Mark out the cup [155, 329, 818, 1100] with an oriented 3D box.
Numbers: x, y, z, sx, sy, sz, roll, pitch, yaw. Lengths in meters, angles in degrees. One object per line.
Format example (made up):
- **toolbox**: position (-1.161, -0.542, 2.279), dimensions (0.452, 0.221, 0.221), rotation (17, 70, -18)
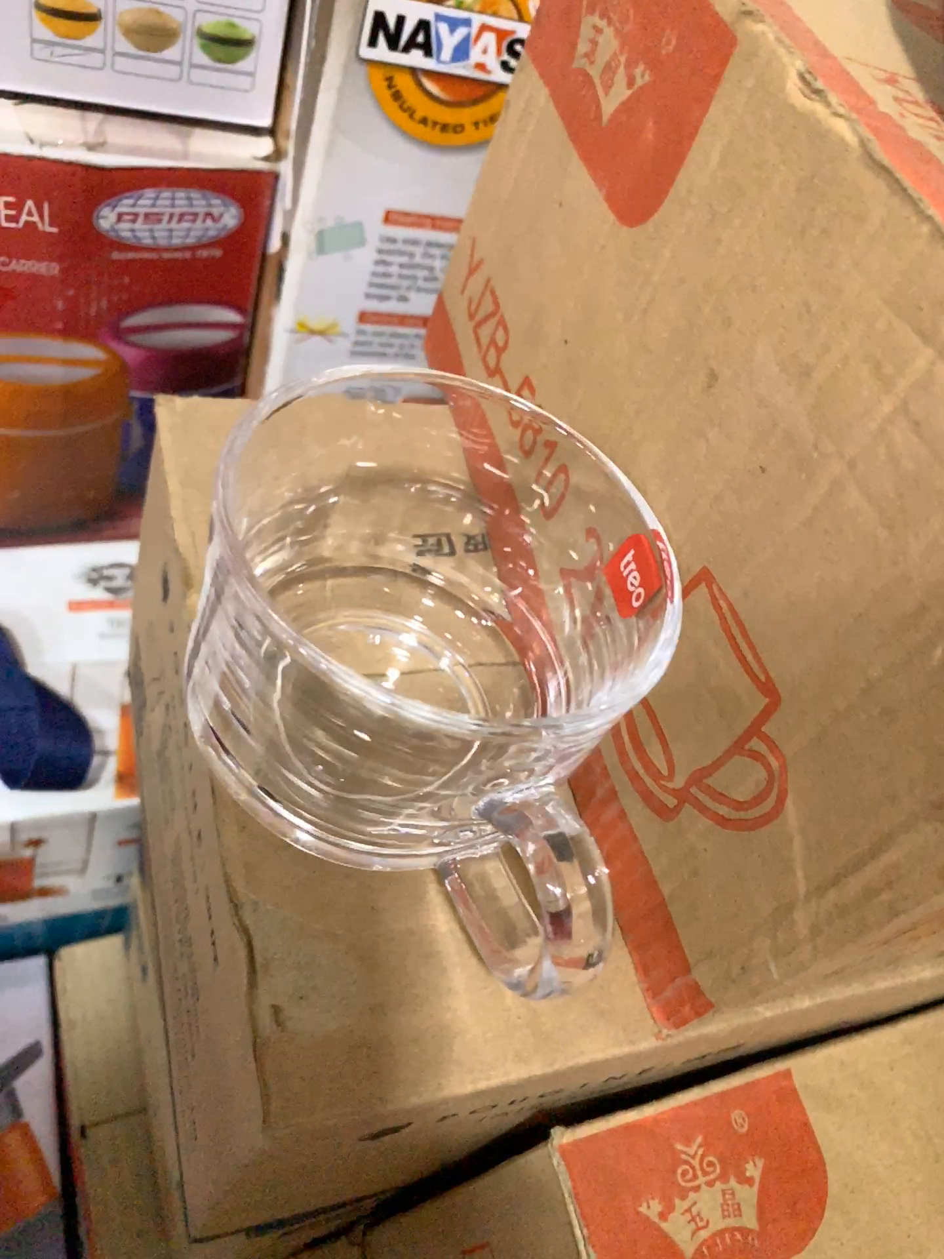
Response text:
- **cup**: position (-0.009, 0.009, 0.171), dimensions (0.072, 0.061, 0.105), rotation (-3, 55, -24)
